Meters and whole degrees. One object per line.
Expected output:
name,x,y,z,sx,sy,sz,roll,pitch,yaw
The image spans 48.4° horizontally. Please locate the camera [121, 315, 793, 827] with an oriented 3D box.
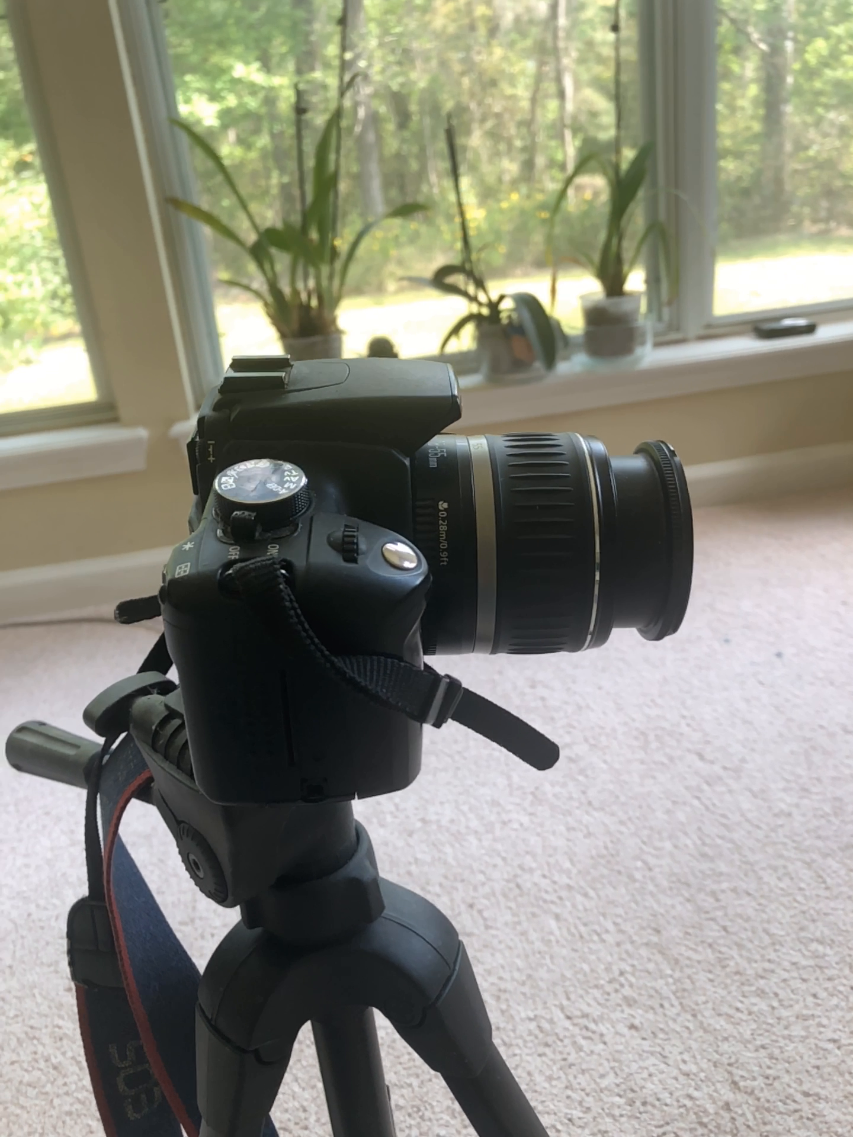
camera,0.002,-0.010,0.278,0.142,0.093,0.131,-2,29,-5
